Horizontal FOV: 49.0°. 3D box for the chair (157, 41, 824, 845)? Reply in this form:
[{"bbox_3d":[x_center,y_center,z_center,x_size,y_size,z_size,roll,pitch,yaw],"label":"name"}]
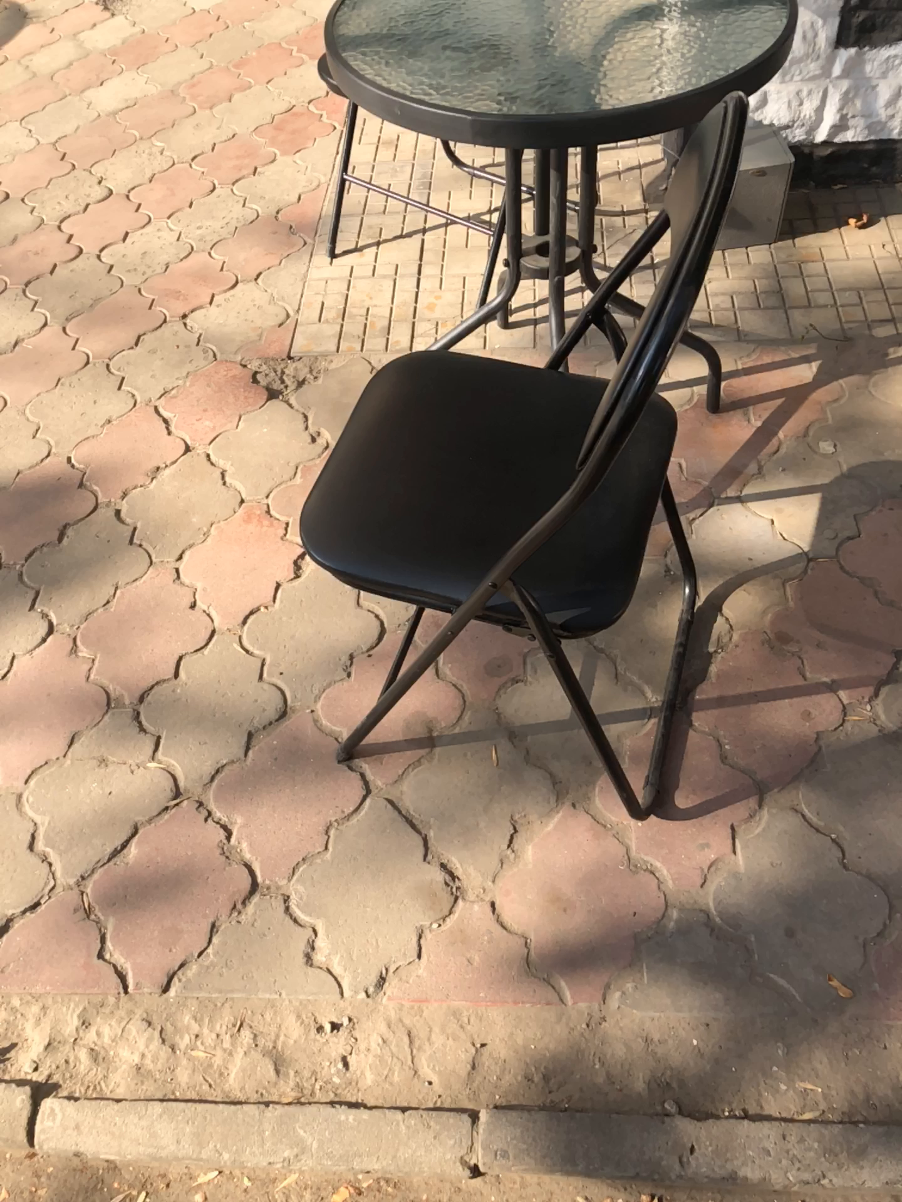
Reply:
[{"bbox_3d":[0.090,-0.156,1.140,0.470,0.698,0.502,11,52,14],"label":"chair"}]
